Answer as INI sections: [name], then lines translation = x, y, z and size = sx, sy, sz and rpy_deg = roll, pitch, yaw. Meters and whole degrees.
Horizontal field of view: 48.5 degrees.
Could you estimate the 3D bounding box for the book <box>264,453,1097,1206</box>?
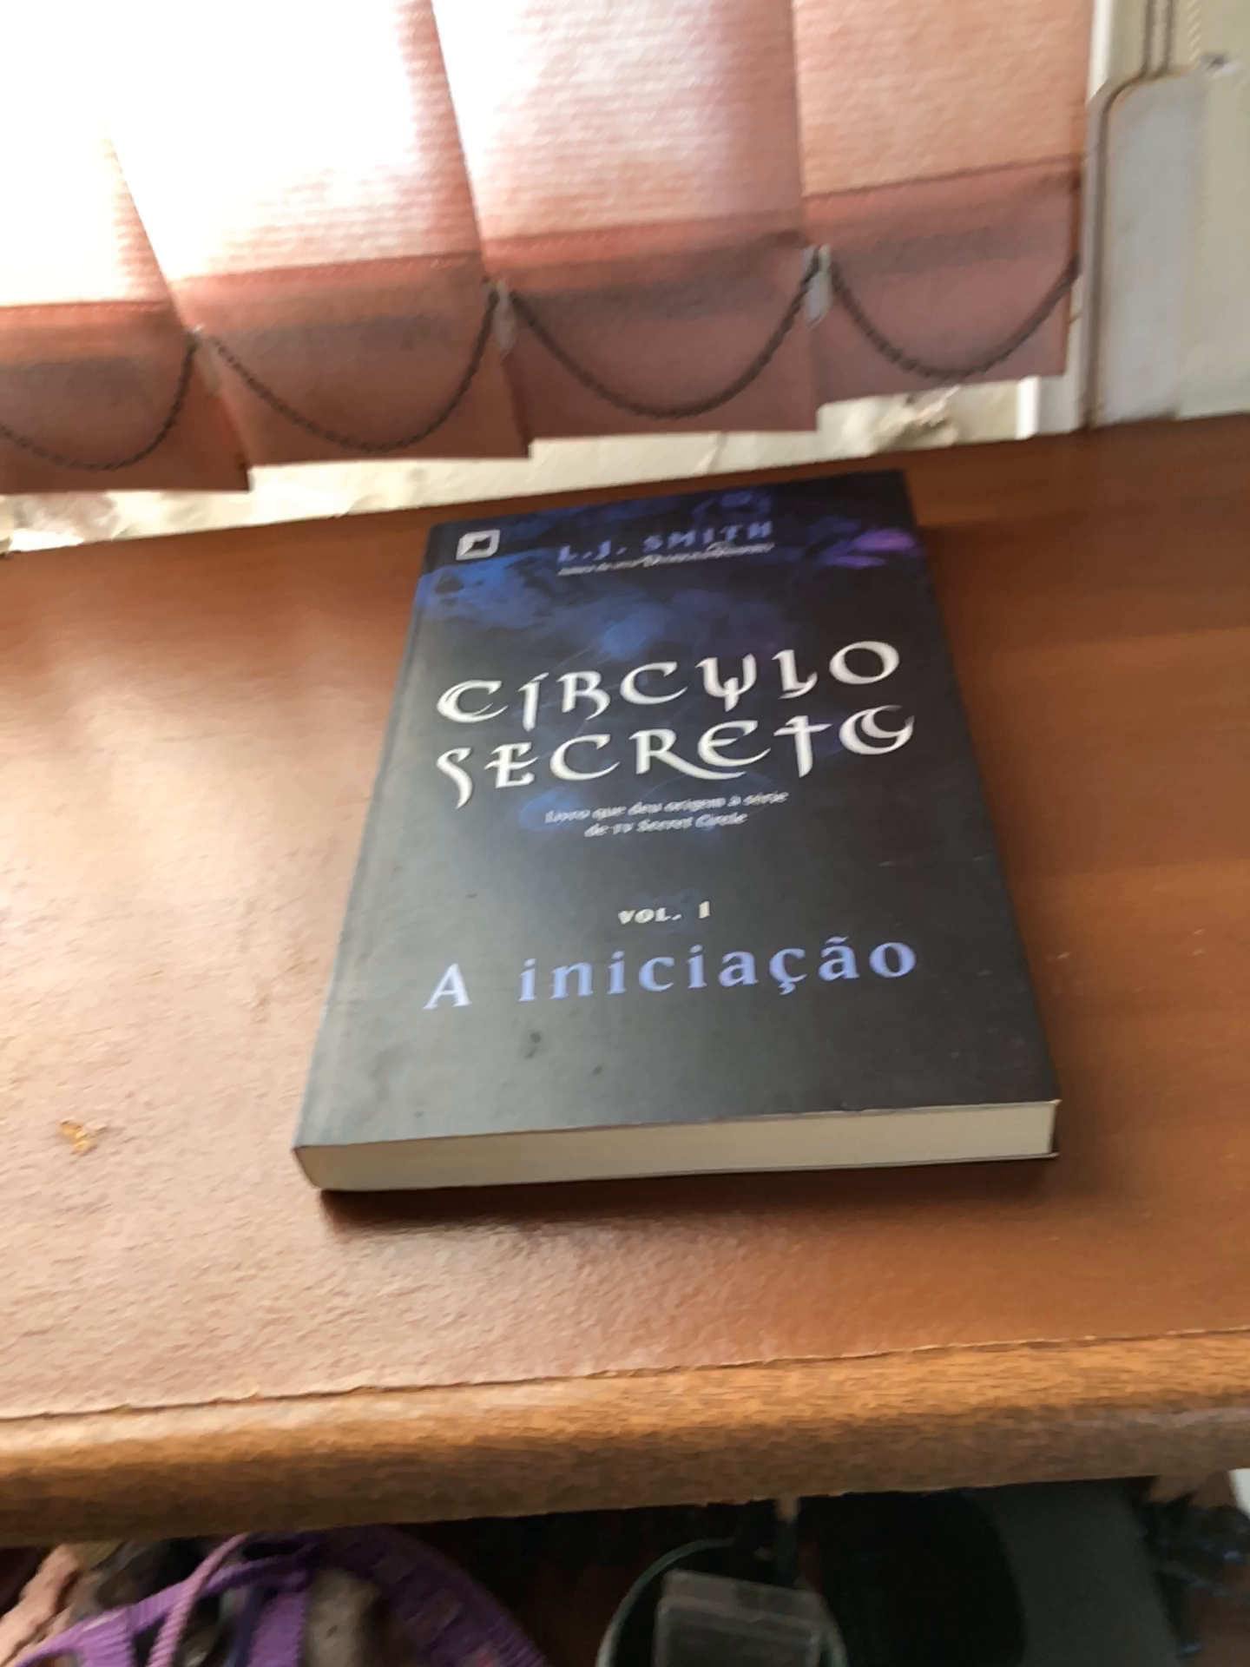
[book]
translation = 0.010, -0.019, 0.319
size = 0.140, 0.024, 0.215
rpy_deg = -4, 43, 5
